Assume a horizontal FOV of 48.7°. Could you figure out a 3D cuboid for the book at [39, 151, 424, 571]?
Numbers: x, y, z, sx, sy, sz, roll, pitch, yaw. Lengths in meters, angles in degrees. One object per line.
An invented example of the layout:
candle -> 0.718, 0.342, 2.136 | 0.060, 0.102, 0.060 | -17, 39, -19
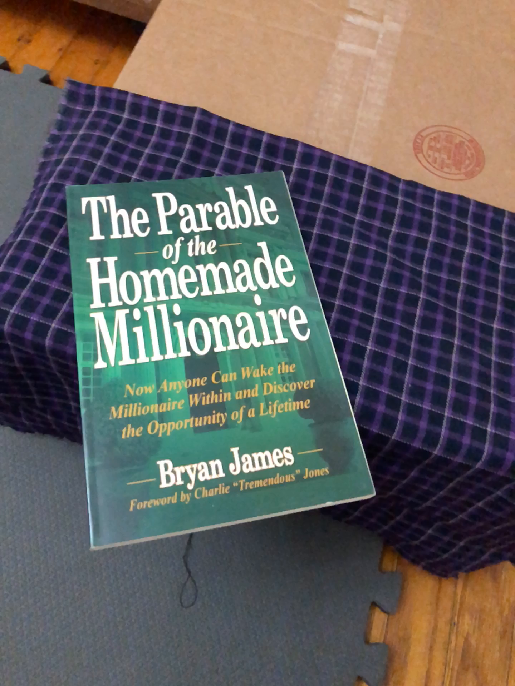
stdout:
book -> -0.024, -0.009, 0.298 | 0.160, 0.020, 0.211 | -8, 65, -10
